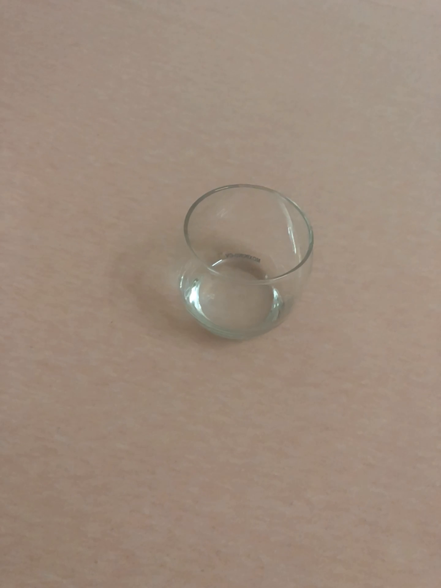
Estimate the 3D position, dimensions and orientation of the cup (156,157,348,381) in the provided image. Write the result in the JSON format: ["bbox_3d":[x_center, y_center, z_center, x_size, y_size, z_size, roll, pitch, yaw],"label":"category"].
[{"bbox_3d":[0.018,-0.016,0.351,0.090,0.100,0.090,3,55,-4],"label":"cup"}]
